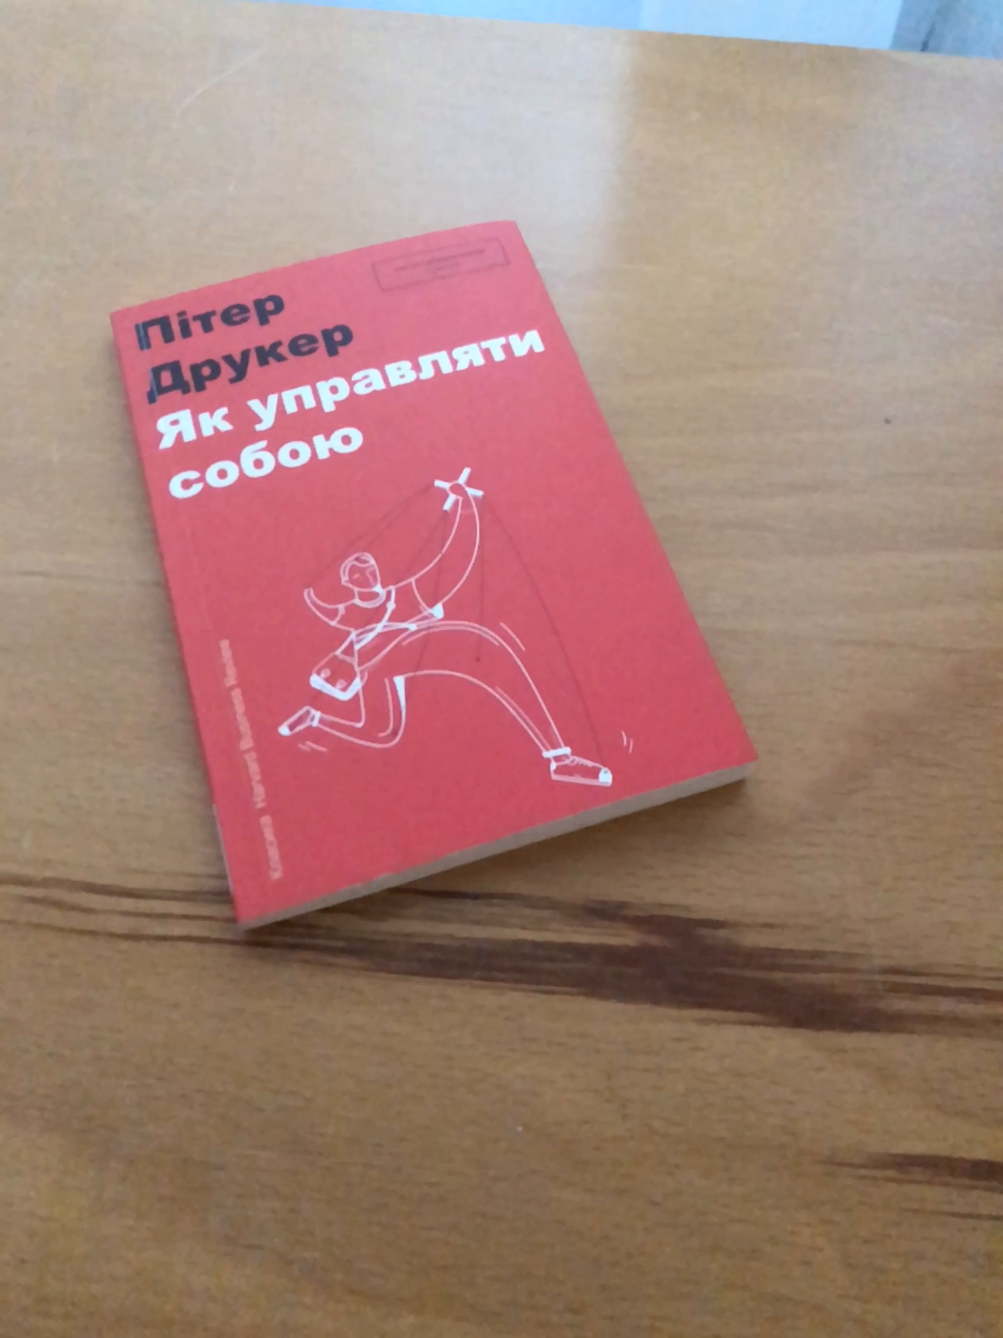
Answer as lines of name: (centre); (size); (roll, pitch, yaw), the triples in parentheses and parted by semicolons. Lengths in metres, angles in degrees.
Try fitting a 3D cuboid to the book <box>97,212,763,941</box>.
book: (-0.025, -0.034, 0.256); (0.111, 0.013, 0.164); (-16, 63, -7)
